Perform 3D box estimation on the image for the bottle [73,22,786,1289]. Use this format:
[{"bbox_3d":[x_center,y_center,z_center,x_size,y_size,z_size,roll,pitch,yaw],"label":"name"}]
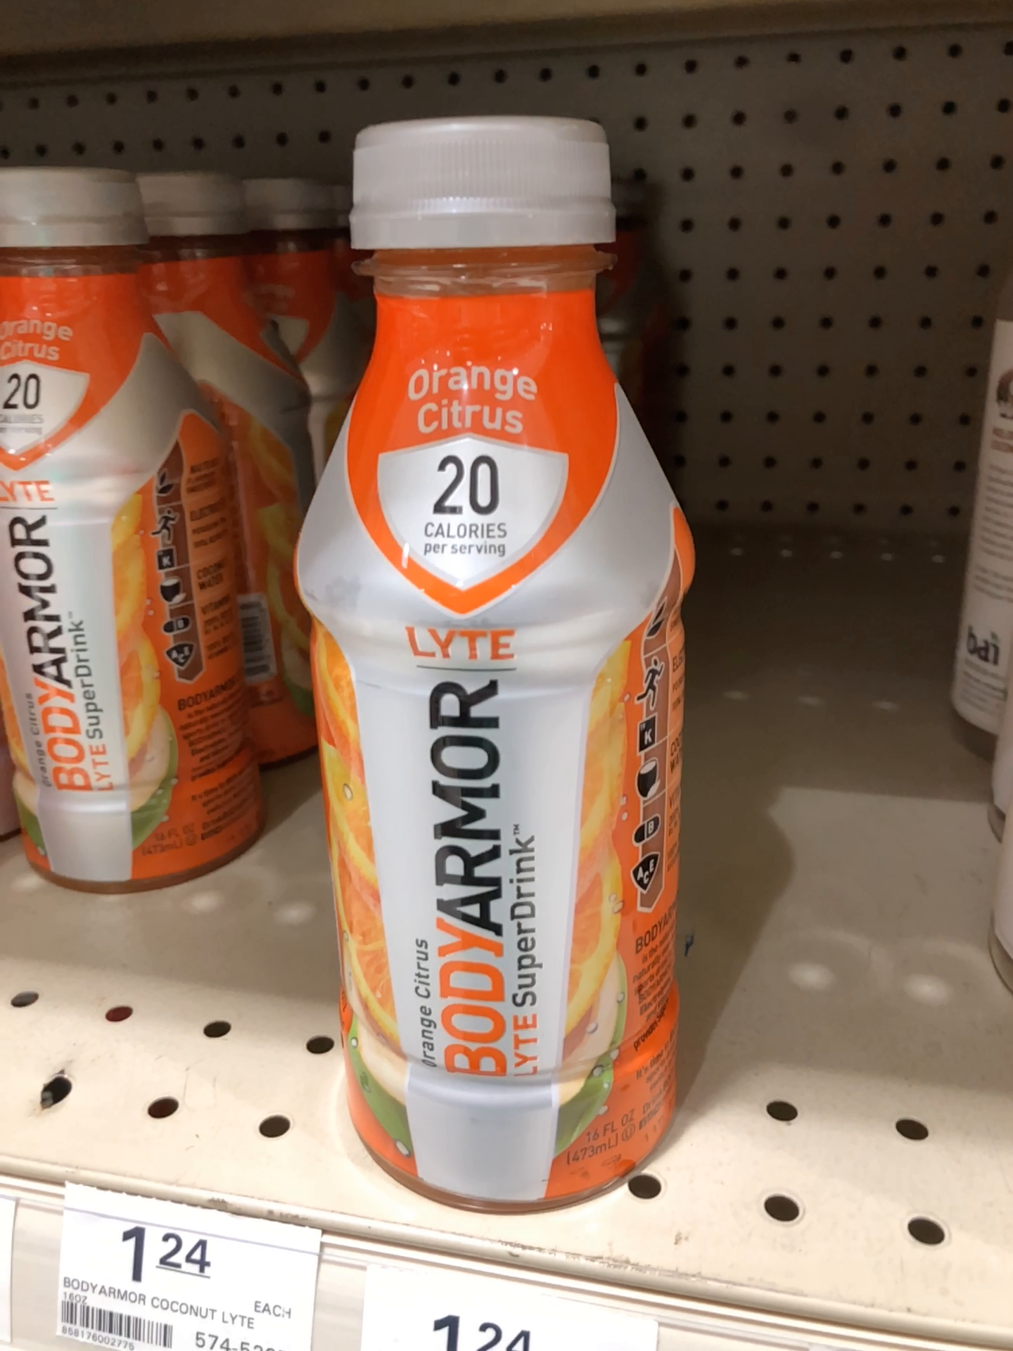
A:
[{"bbox_3d":[0.000,-0.001,0.194,0.080,0.180,0.080,-2,23,1],"label":"bottle"}]
